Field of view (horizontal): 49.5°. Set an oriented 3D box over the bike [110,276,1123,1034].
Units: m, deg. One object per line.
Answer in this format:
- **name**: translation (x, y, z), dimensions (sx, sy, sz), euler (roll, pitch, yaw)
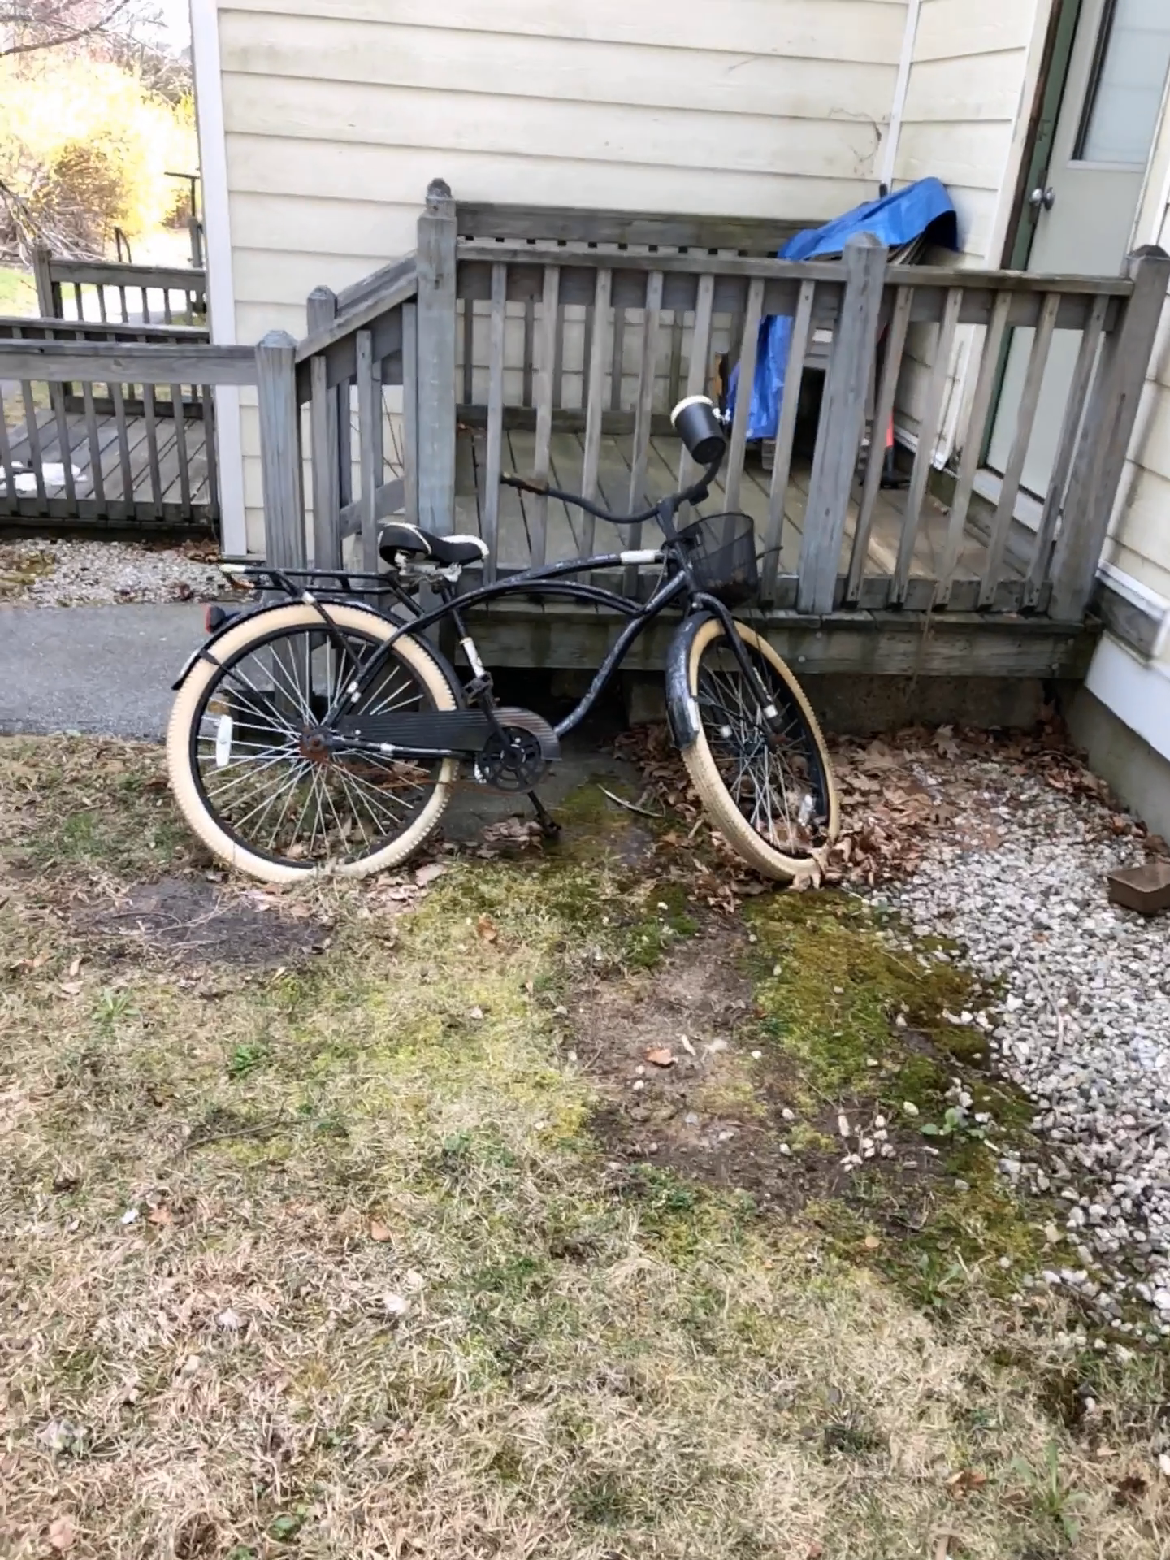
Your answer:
- **bike**: translation (-0.057, -0.357, 2.906), dimensions (1.611, 1.313, 0.942), euler (-8, 28, -16)
